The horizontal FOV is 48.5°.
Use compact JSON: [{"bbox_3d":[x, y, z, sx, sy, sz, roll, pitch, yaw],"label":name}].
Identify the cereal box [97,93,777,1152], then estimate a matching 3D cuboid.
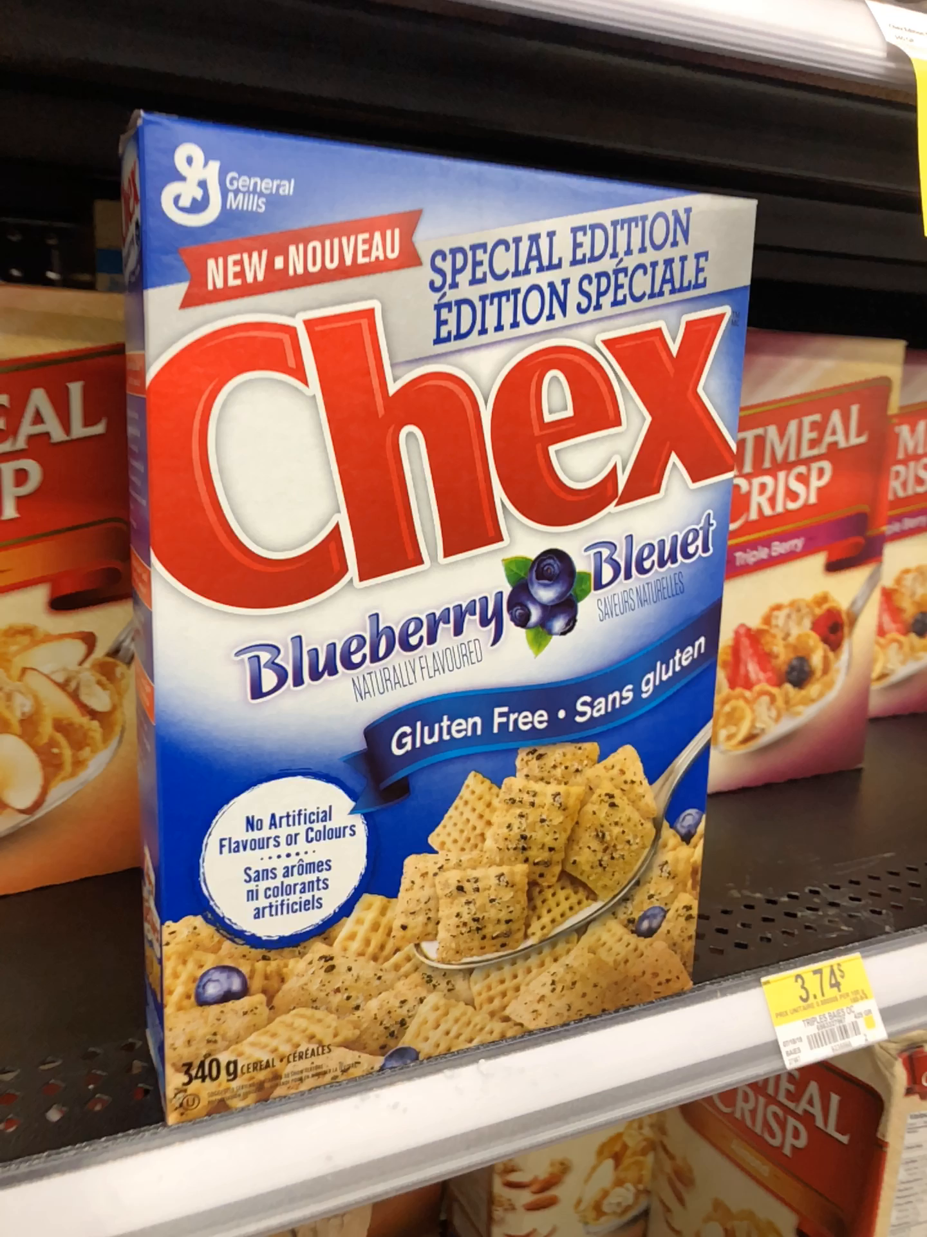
[{"bbox_3d":[-0.008,0.003,0.343,0.200,0.289,0.060,-3,13,-24],"label":"cereal box"}]
